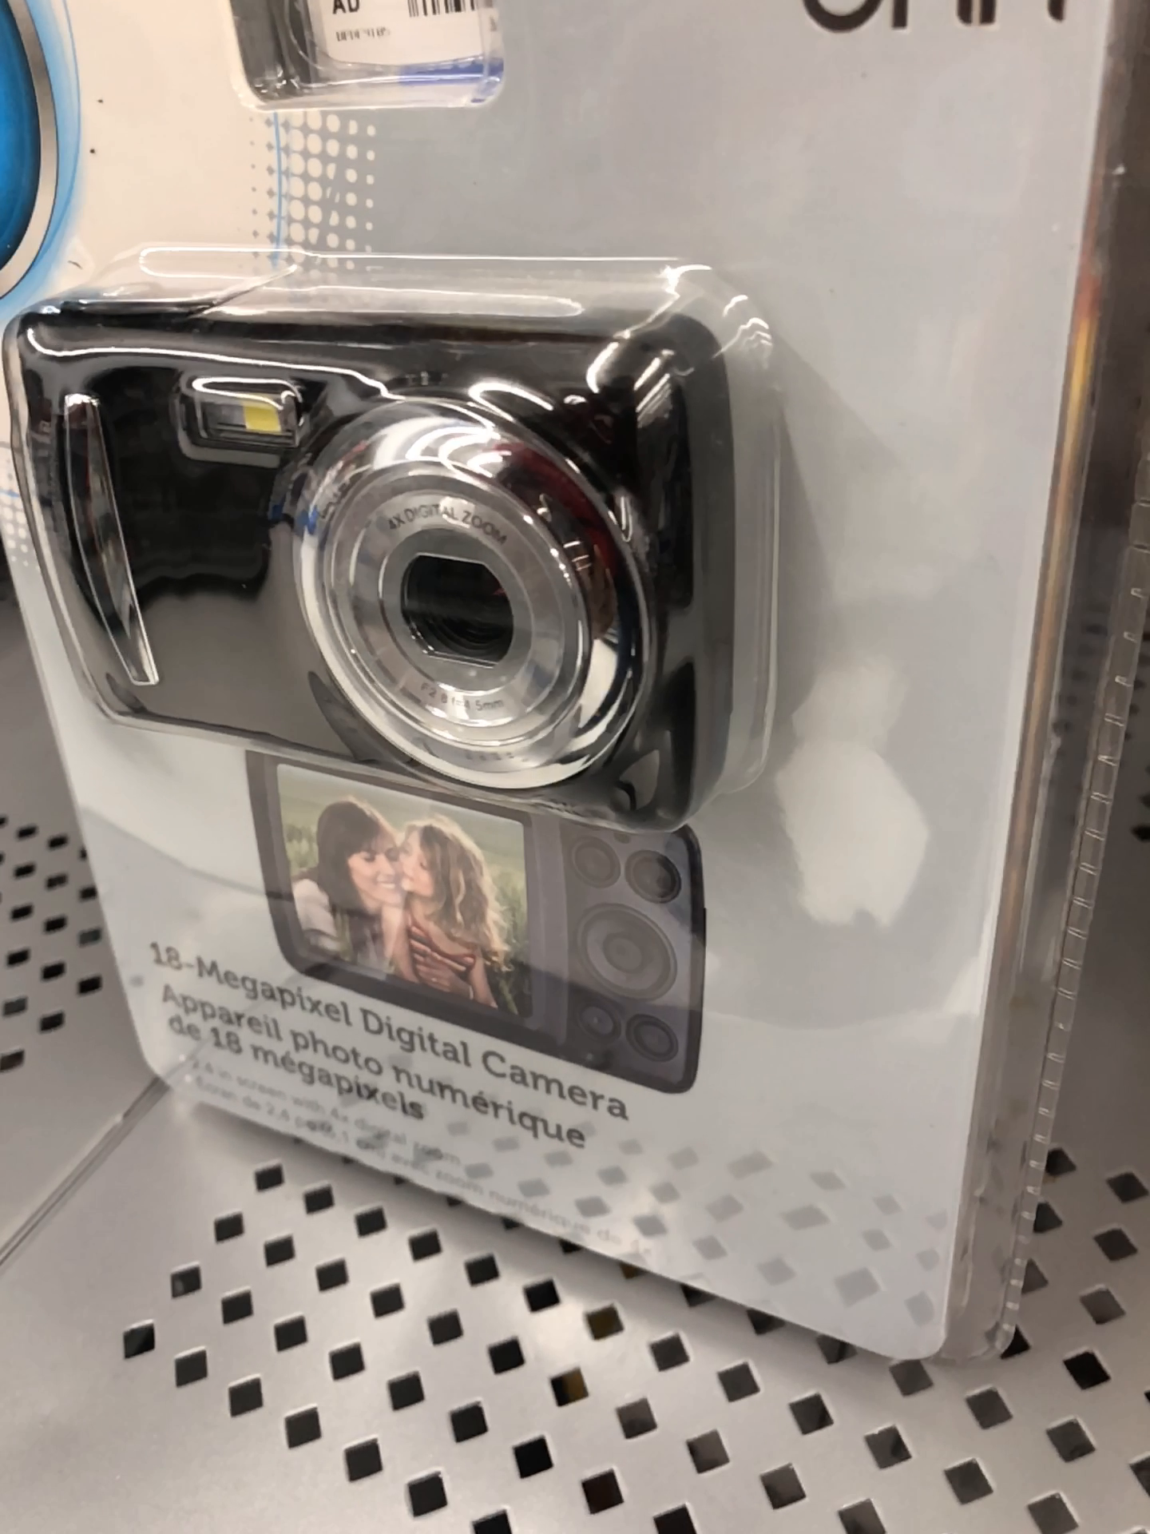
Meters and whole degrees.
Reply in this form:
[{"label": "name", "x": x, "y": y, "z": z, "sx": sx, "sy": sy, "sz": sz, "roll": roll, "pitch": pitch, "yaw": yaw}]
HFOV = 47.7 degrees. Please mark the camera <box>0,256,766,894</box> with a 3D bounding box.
[{"label": "camera", "x": -0.029, "y": -0.028, "z": 0.163, "sx": 0.100, "sy": 0.060, "sz": 0.030, "roll": 13, "pitch": 36, "yaw": 26}]
